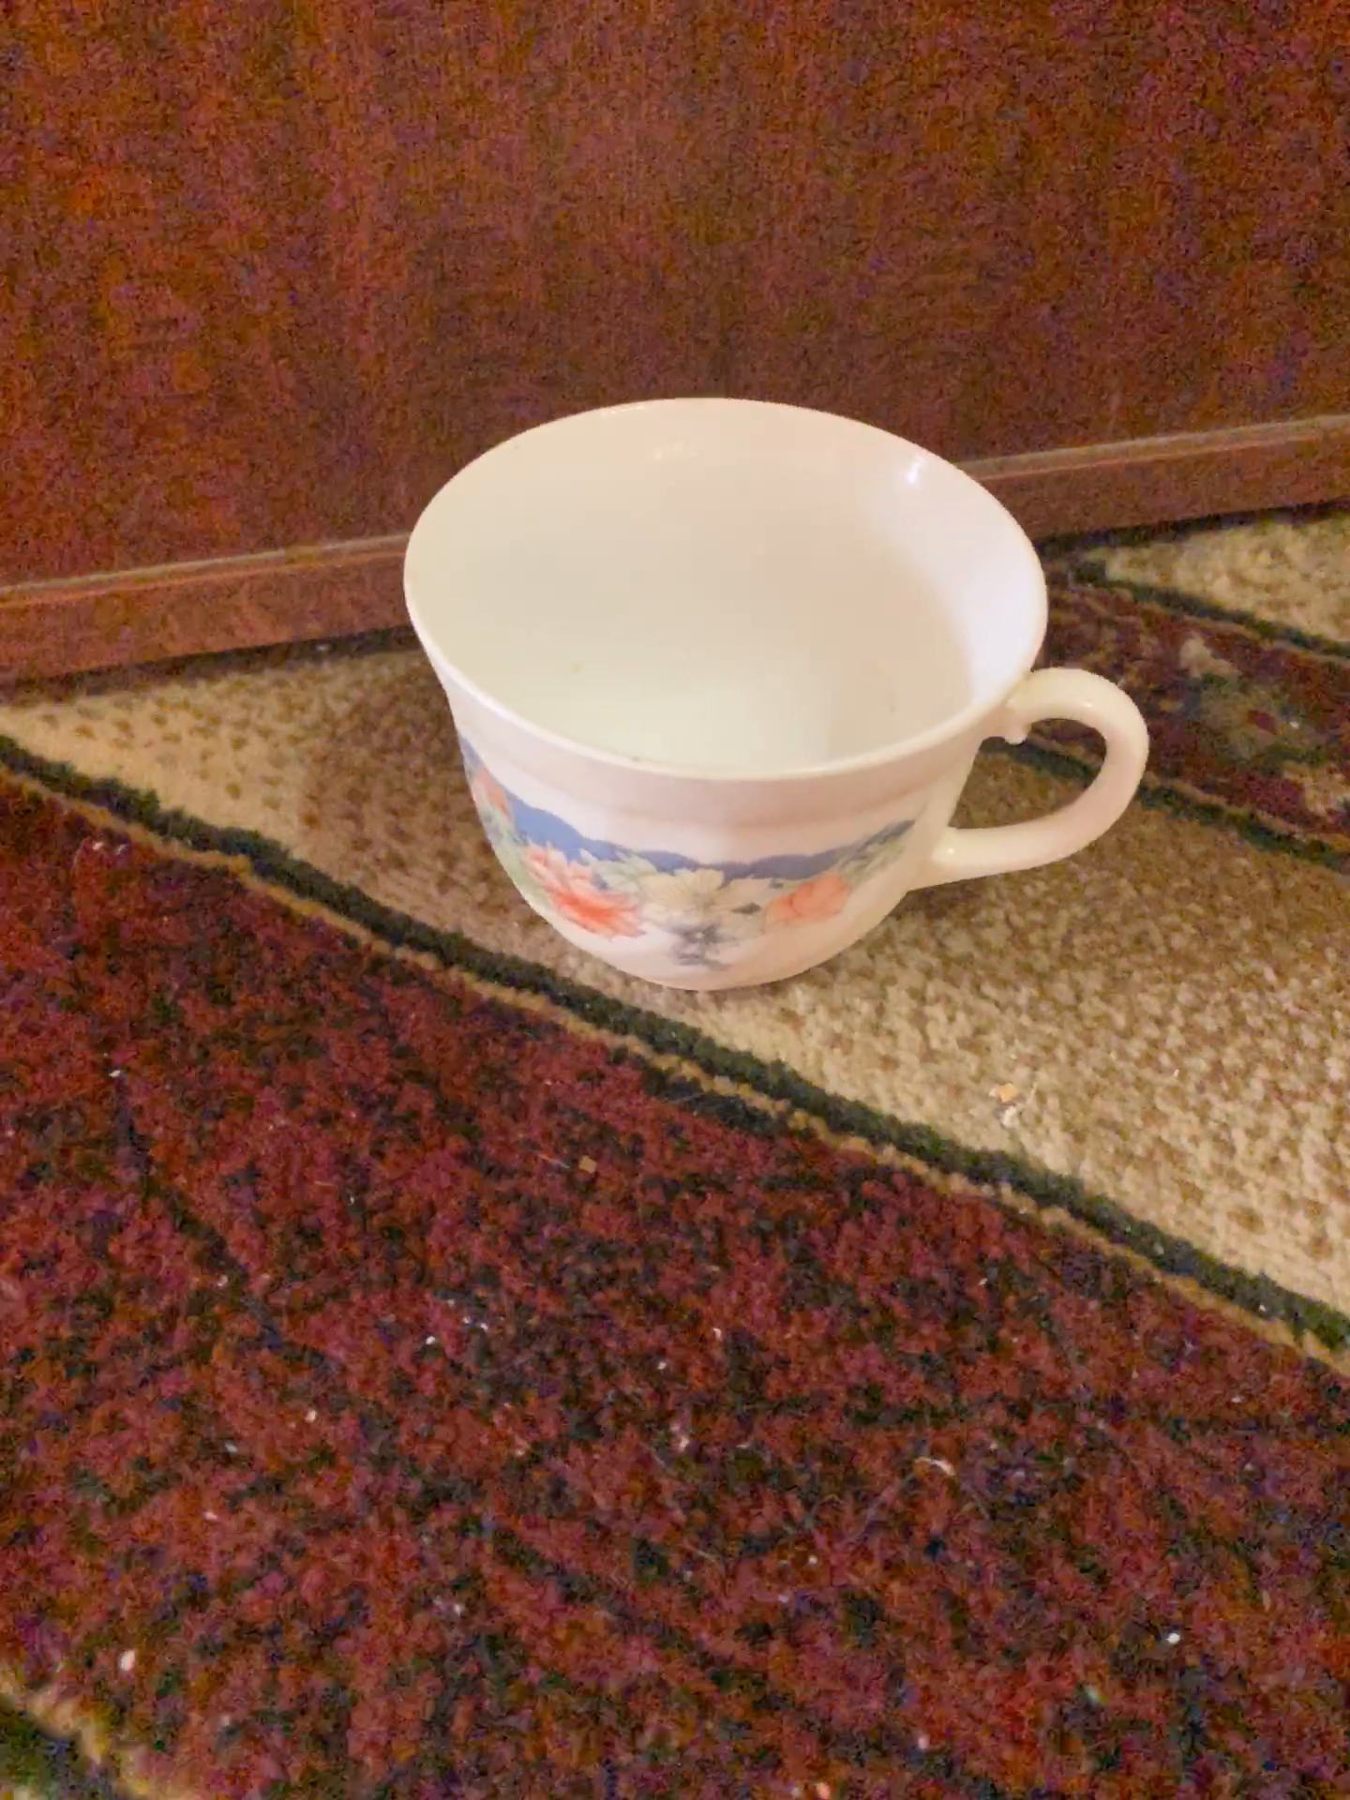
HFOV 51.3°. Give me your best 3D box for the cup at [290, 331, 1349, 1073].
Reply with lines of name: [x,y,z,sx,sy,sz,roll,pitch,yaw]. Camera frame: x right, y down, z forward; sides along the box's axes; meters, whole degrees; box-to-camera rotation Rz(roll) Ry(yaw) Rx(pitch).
cup: [0.018,-0.030,0.190,0.109,0.053,0.083,4,46,3]
